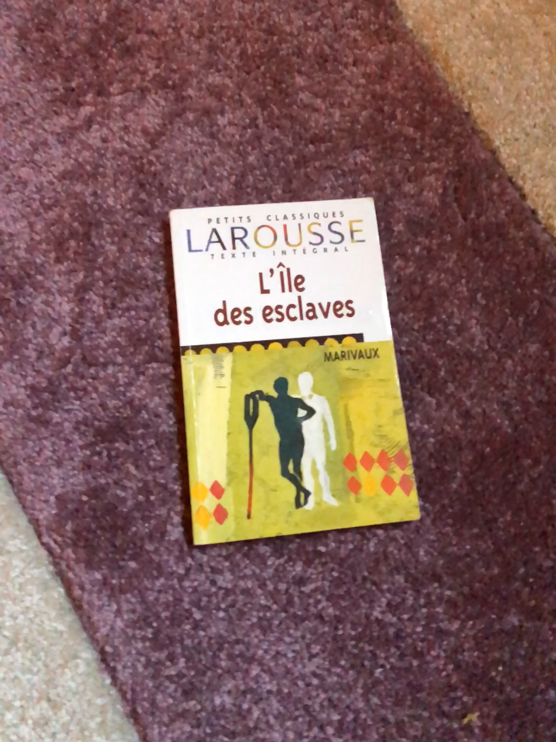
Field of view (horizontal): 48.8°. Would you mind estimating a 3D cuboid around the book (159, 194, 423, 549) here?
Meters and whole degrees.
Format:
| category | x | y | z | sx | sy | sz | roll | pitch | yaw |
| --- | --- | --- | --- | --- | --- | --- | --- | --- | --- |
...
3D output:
| category | x | y | z | sx | sy | sz | roll | pitch | yaw |
| --- | --- | --- | --- | --- | --- | --- | --- | --- | --- |
| book | 0.003 | -0.004 | 0.306 | 0.110 | 0.020 | 0.166 | -5 | 78 | -7 |
